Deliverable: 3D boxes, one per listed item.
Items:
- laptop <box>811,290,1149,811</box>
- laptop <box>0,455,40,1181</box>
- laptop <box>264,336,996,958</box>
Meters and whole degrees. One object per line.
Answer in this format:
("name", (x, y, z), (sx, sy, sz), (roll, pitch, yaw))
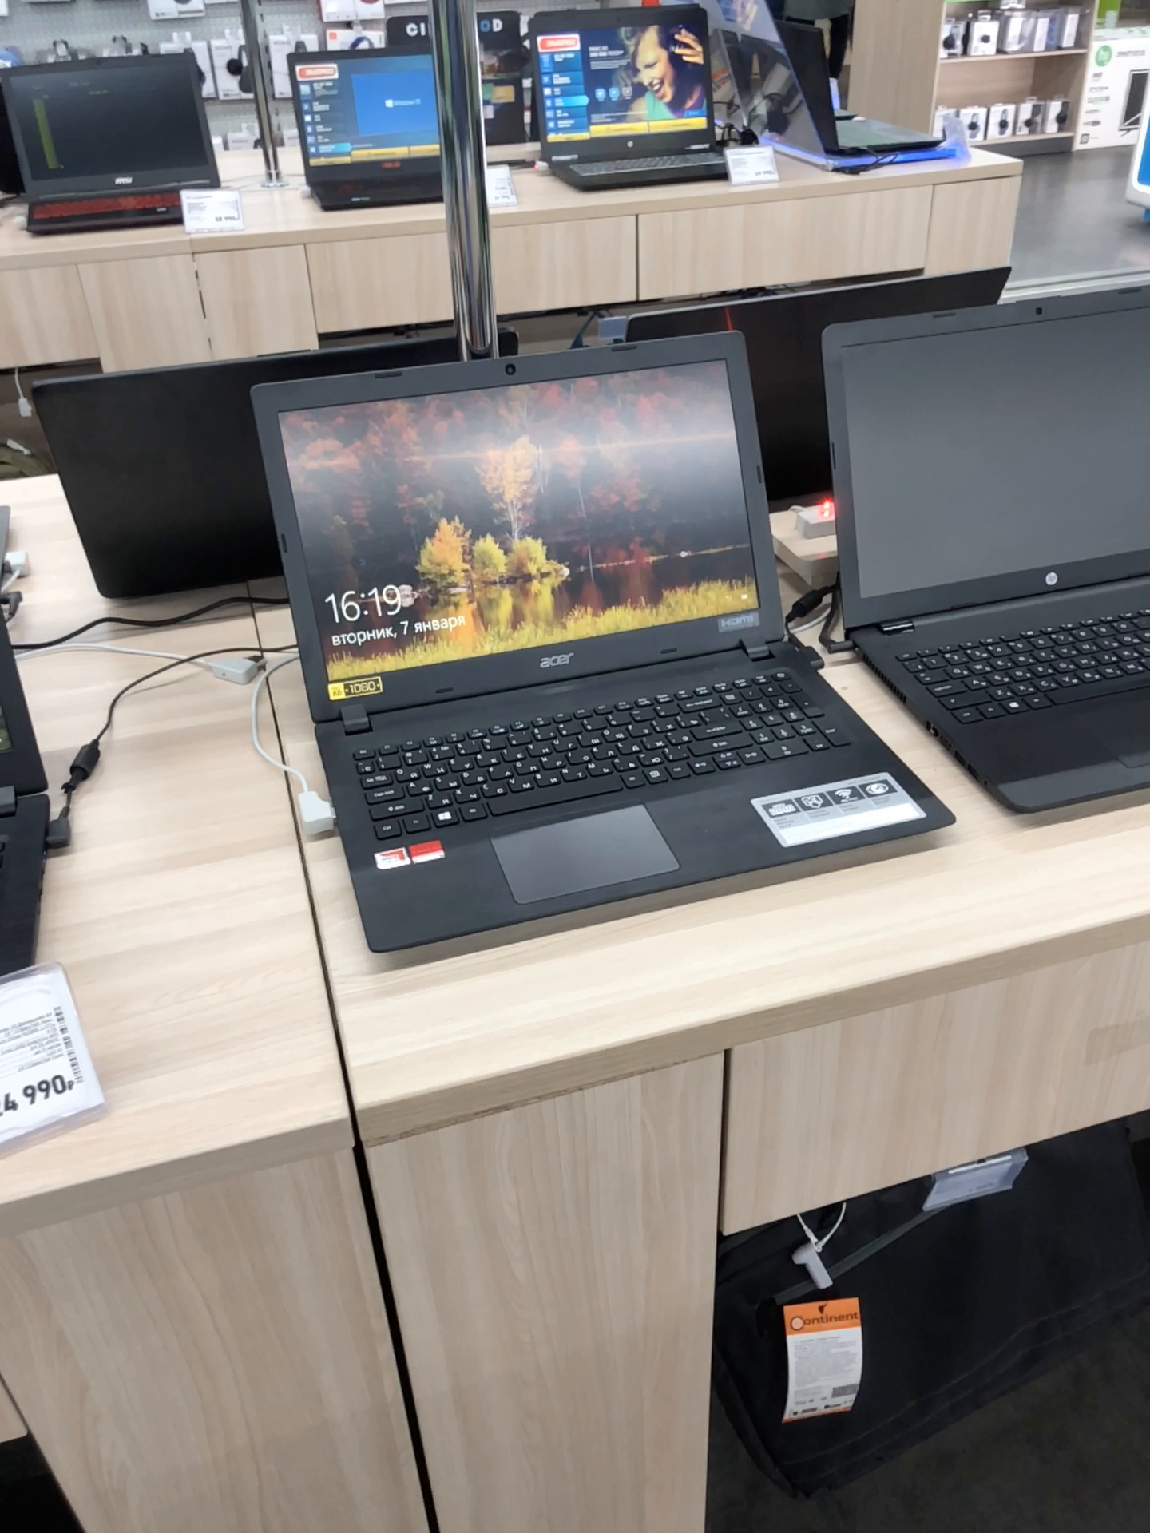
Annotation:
("laptop", (0.414, -0.185, 0.930), (0.378, 0.212, 0.339), (-10, 34, -12))
("laptop", (-0.500, 0.001, 0.703), (0.306, 0.214, 0.302), (-10, 36, -12))
("laptop", (0.009, -0.114, 0.853), (0.373, 0.208, 0.369), (-11, 35, -13))
